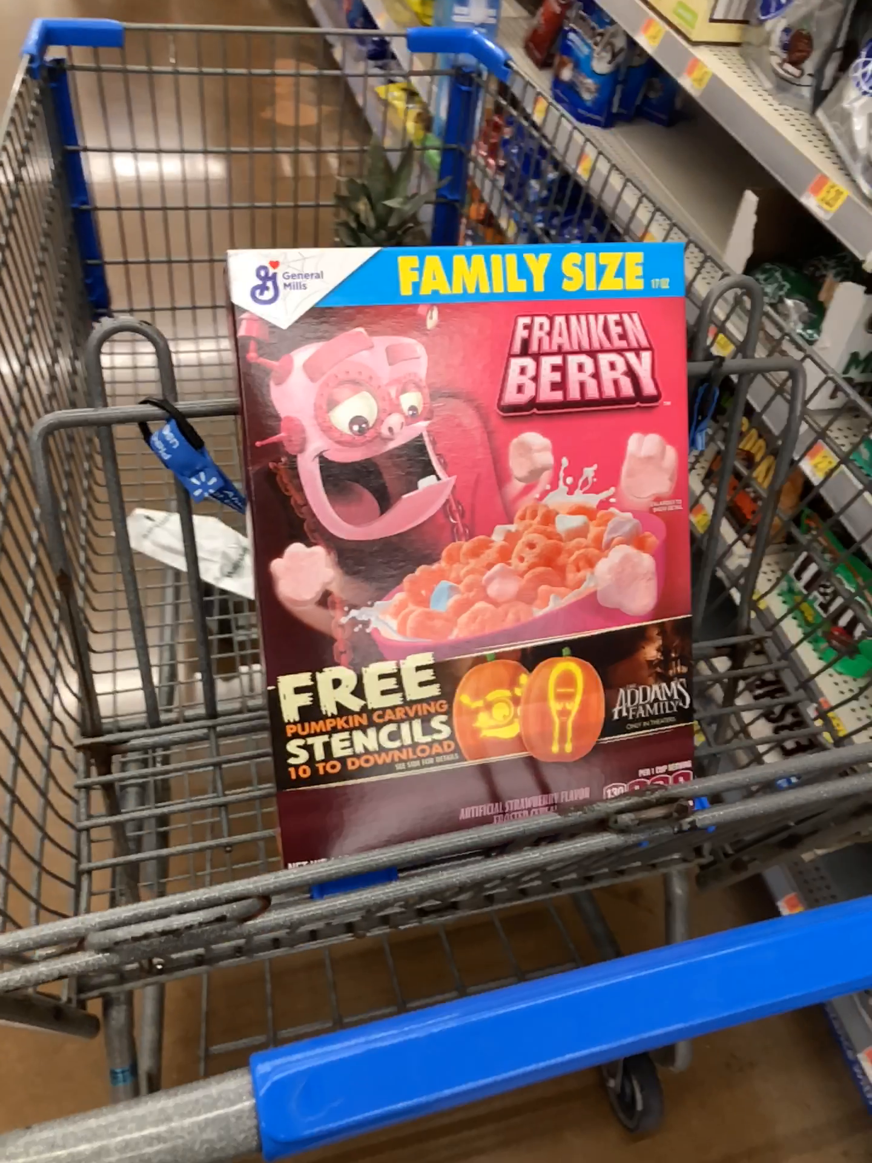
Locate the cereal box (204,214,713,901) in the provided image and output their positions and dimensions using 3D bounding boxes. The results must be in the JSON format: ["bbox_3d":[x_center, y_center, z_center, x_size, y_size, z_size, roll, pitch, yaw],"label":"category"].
[{"bbox_3d":[0.017,-0.018,0.510,0.240,0.320,0.070,-6,10,-14],"label":"cereal box"}]
